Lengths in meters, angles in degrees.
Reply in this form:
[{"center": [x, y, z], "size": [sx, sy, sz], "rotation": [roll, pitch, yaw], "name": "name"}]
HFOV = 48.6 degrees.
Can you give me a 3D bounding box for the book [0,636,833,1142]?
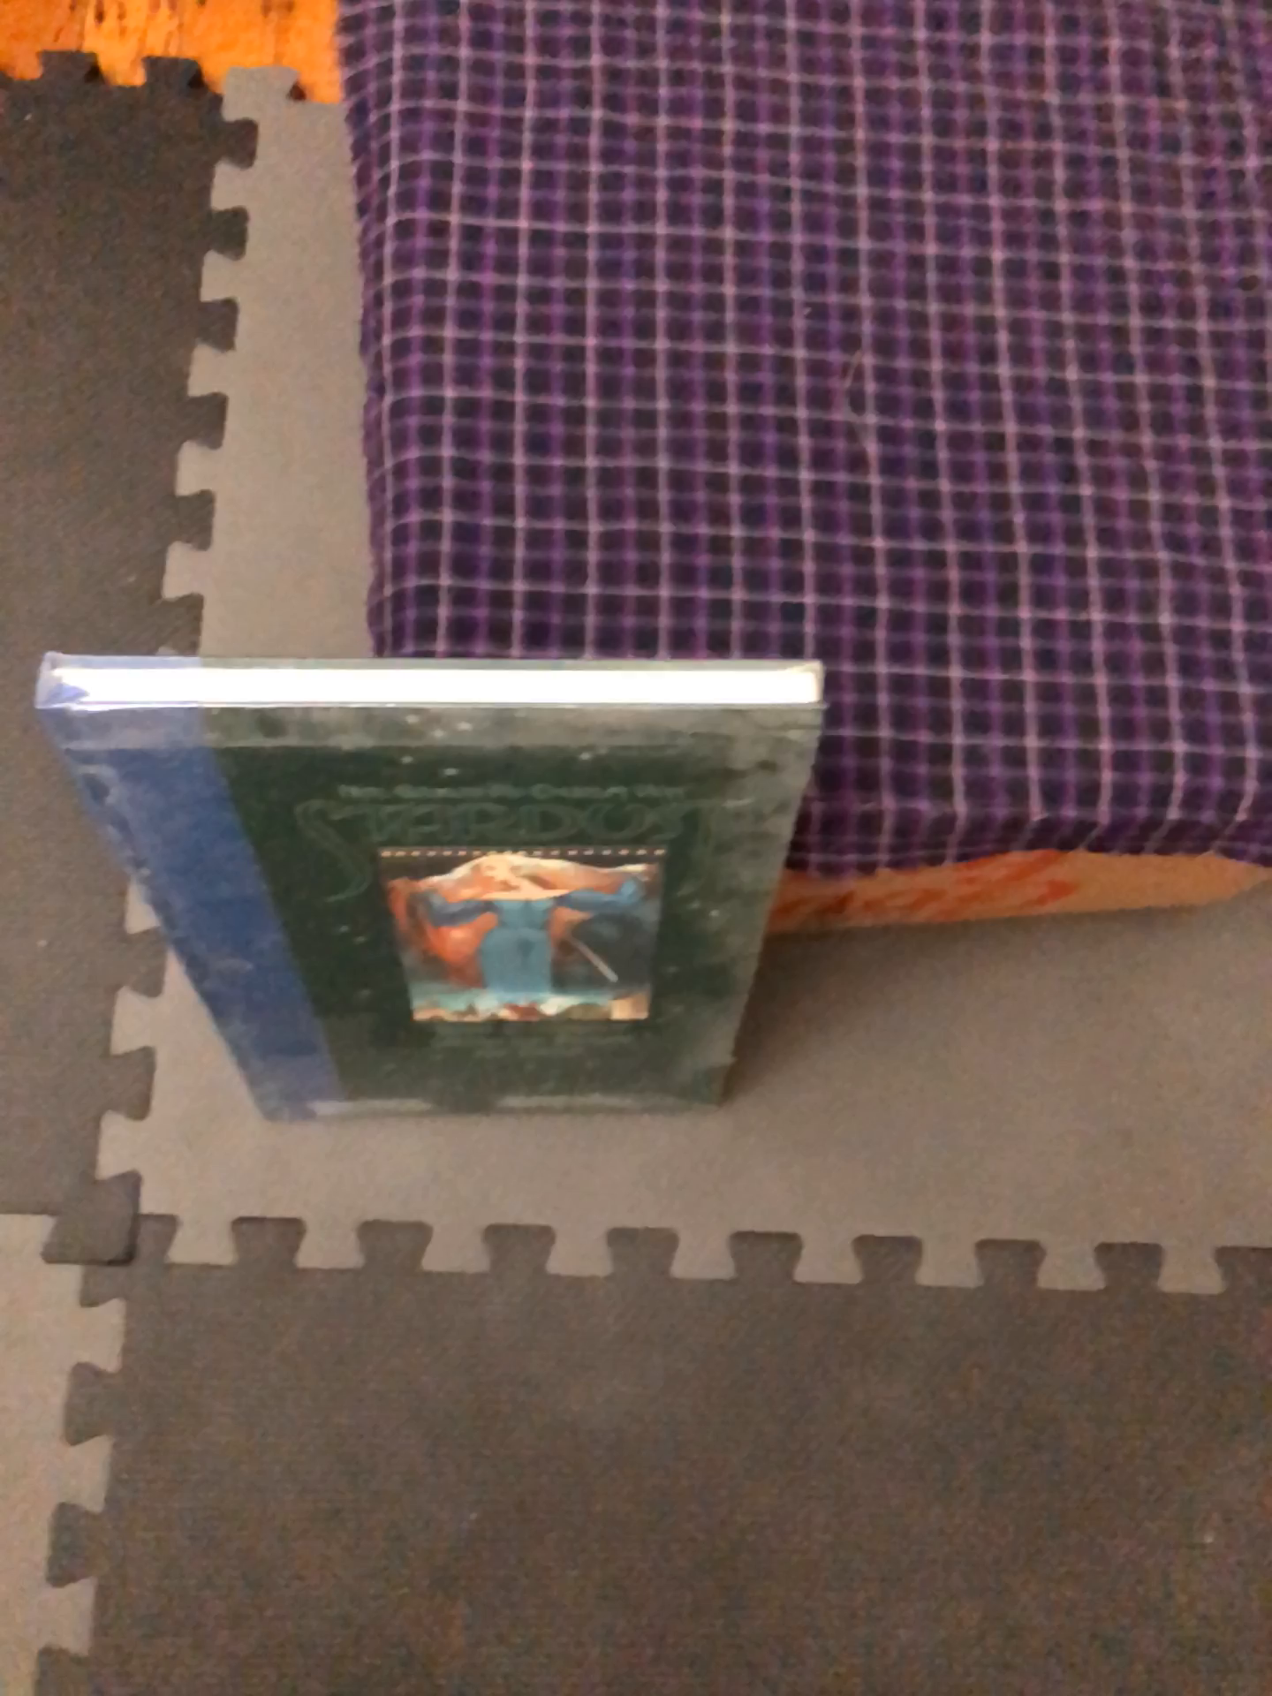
[{"center": [-0.060, 0.038, 0.494], "size": [0.210, 0.329, 0.020], "rotation": [-1, 60, -2], "name": "book"}]
